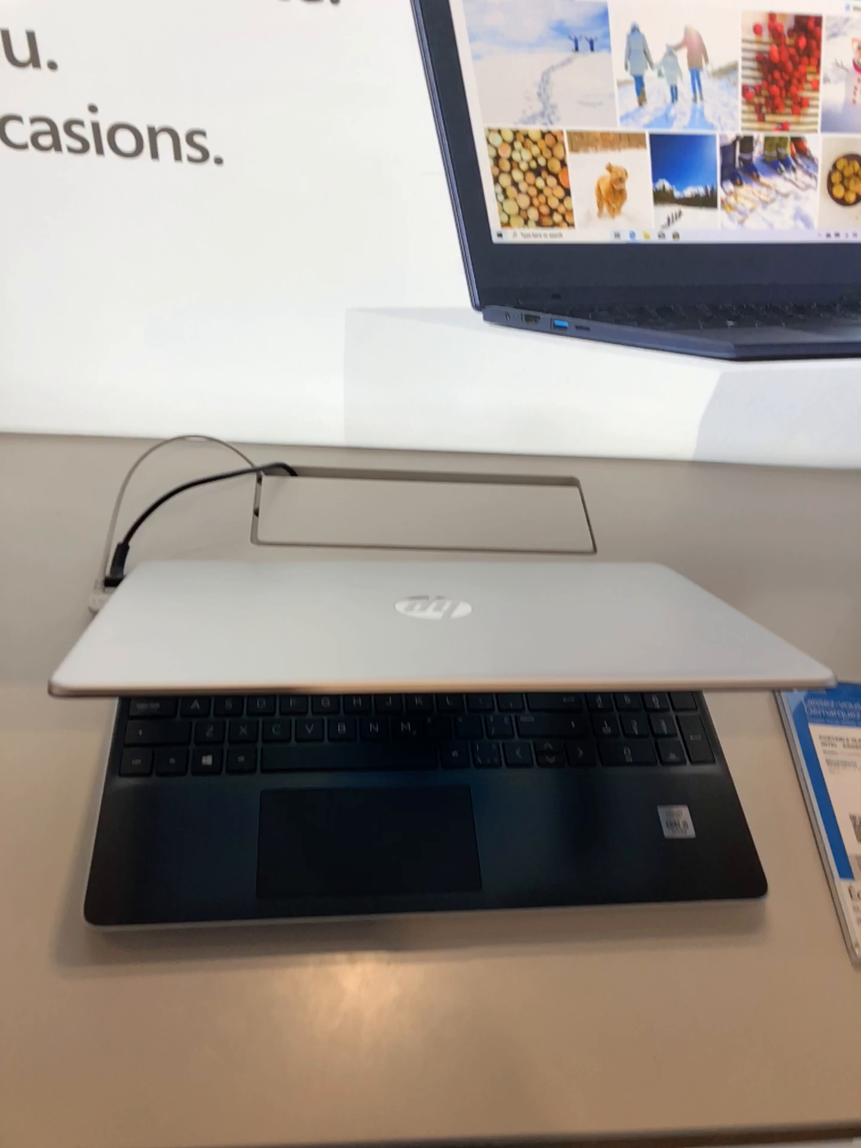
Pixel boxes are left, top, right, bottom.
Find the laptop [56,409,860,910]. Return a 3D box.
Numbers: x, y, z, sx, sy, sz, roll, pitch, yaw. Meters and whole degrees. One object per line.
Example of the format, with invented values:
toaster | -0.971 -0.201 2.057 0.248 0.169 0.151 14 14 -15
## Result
laptop | 0.005 0.036 0.520 0.345 0.131 0.230 0 47 -7
